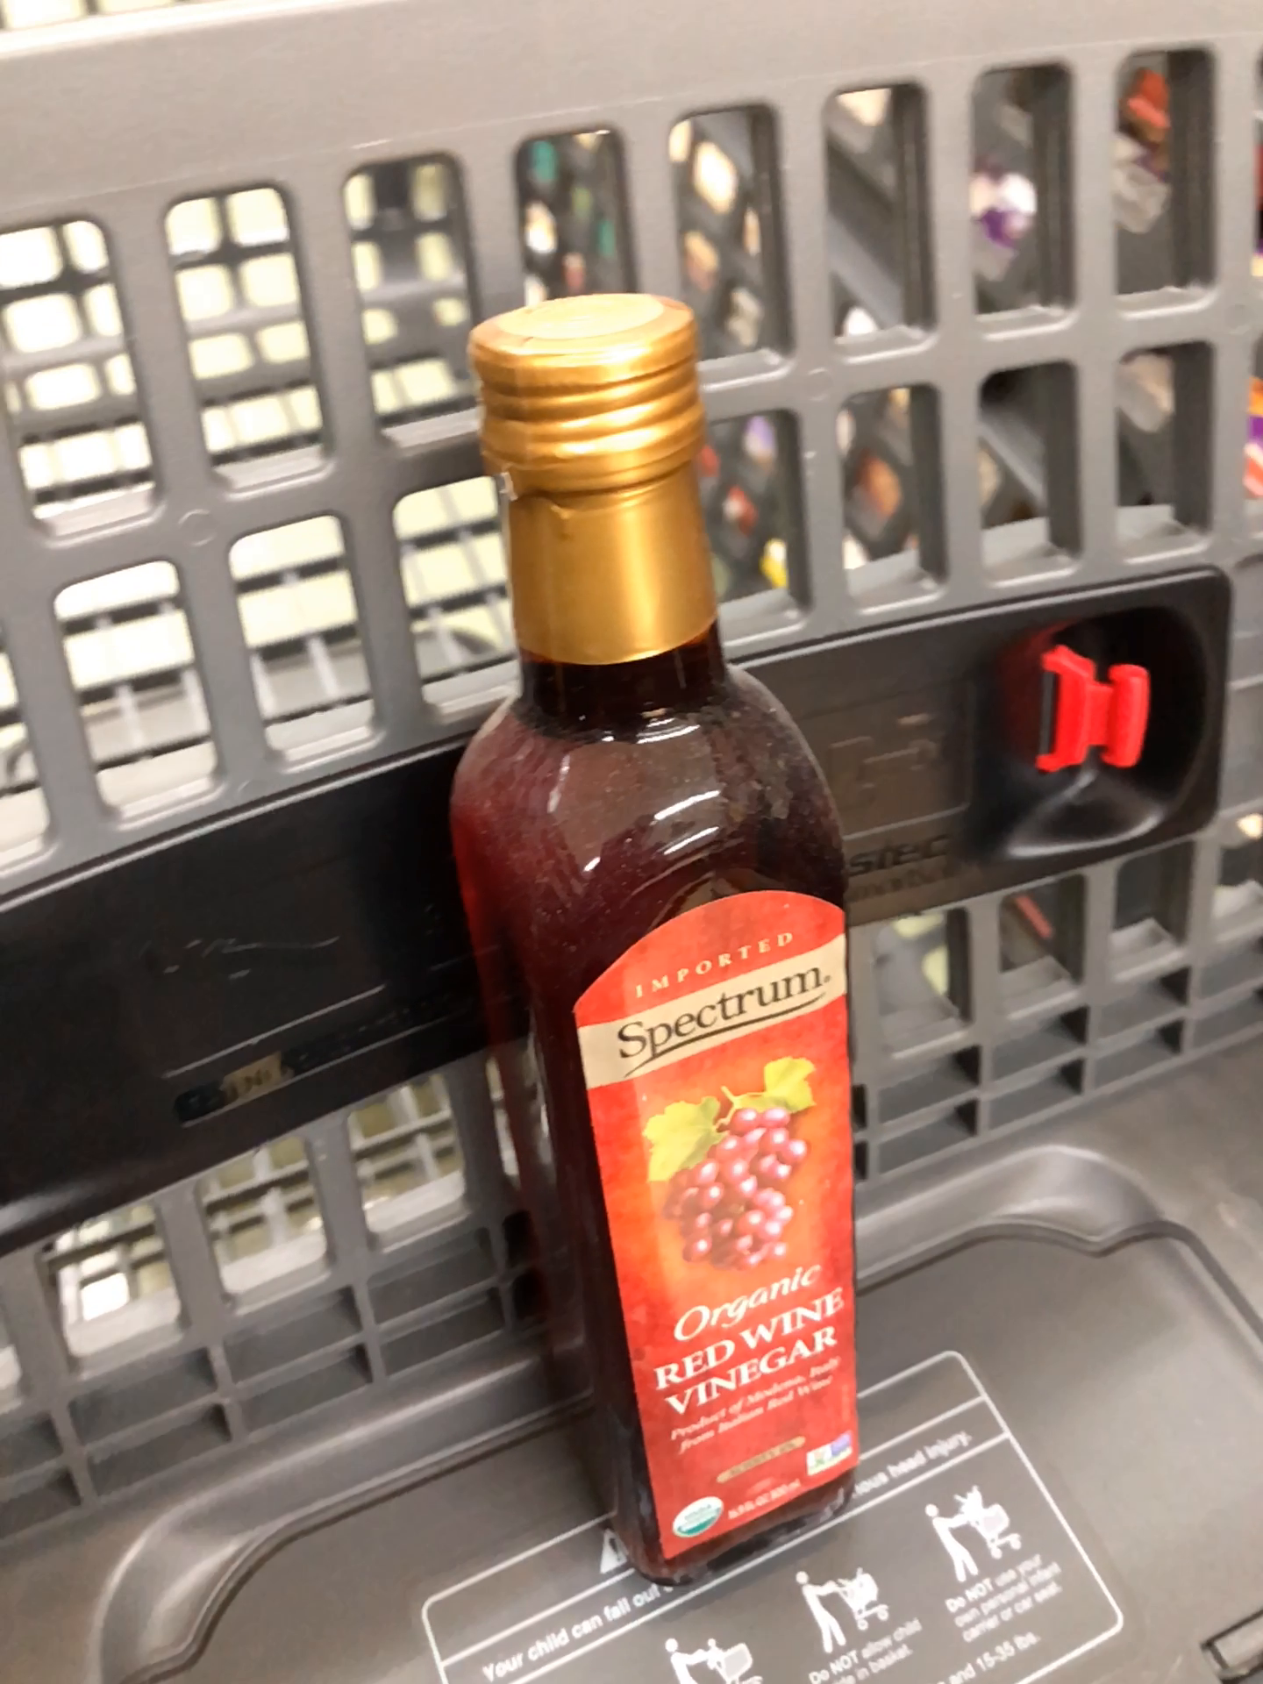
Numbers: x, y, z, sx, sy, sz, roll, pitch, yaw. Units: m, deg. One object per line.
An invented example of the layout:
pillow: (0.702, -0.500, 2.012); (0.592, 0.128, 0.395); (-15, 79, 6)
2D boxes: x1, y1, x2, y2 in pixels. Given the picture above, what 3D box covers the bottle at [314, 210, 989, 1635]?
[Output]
bottle: (0.011, 0.035, 0.270); (0.070, 0.270, 0.070); (-4, 35, 3)
